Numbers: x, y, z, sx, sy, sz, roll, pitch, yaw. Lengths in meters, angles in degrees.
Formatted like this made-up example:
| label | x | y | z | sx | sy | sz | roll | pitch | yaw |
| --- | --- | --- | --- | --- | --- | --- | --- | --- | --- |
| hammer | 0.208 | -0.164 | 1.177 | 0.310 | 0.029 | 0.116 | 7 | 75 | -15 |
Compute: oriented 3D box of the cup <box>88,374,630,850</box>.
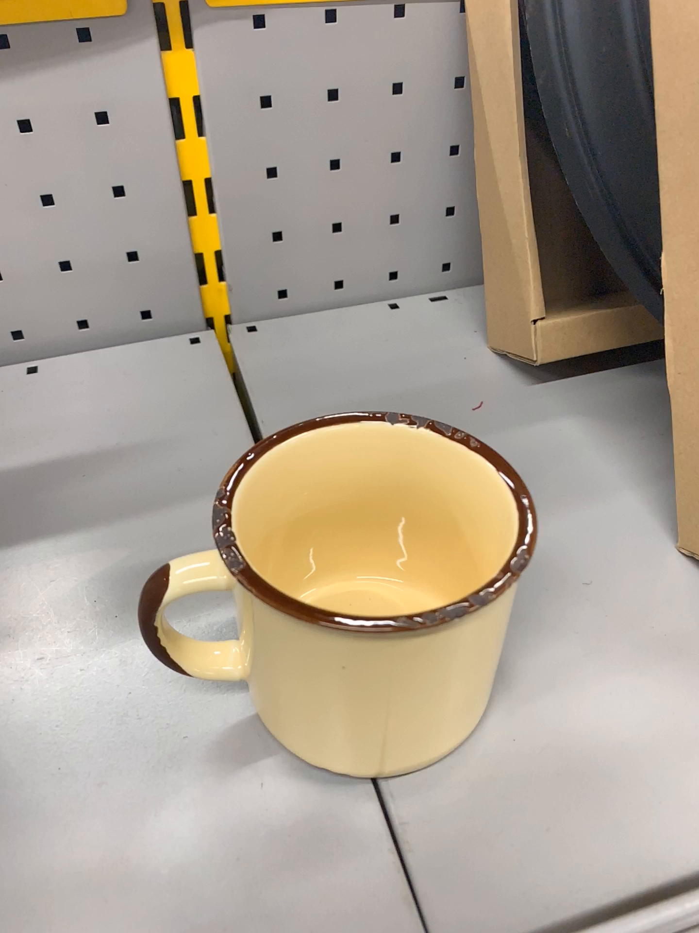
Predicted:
| label | x | y | z | sx | sy | sz | roll | pitch | yaw |
| --- | --- | --- | --- | --- | --- | --- | --- | --- | --- |
| cup | -0.003 | 0.038 | 0.215 | 0.120 | 0.080 | 0.090 | -8 | 41 | -8 |
